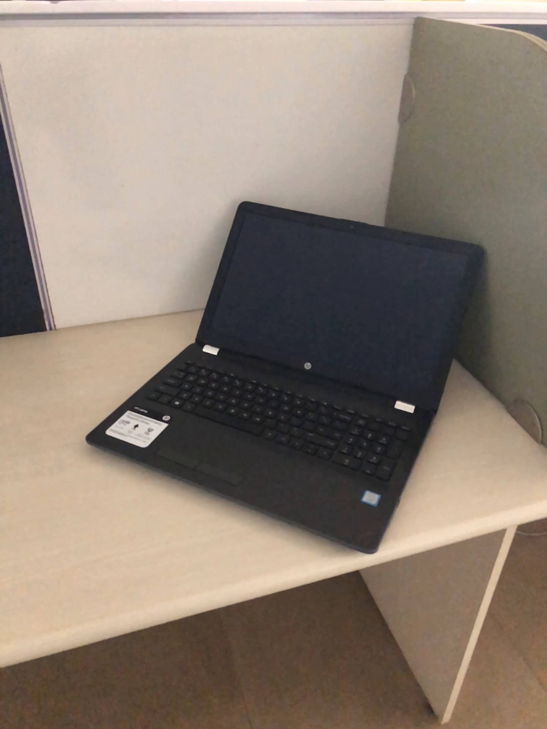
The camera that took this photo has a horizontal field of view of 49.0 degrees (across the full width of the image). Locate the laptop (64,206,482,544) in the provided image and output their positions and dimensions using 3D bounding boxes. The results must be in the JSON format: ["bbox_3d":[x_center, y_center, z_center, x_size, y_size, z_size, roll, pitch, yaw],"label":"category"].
[{"bbox_3d":[0.026,-0.034,0.769,0.366,0.167,0.395,16,36,21],"label":"laptop"}]
